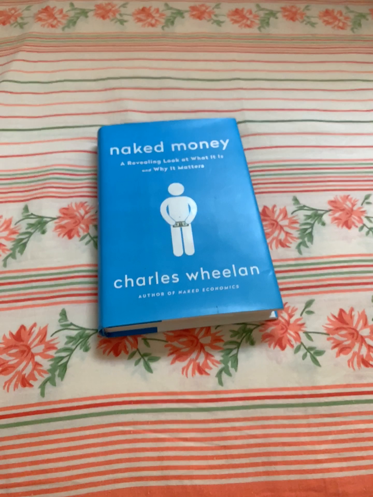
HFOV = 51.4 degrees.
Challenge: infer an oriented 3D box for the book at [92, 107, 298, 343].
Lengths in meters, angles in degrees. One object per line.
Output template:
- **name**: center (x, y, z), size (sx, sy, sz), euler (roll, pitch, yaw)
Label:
- **book**: center (-0.007, -0.041, 0.397), size (0.170, 0.040, 0.252), euler (-5, 59, -6)
